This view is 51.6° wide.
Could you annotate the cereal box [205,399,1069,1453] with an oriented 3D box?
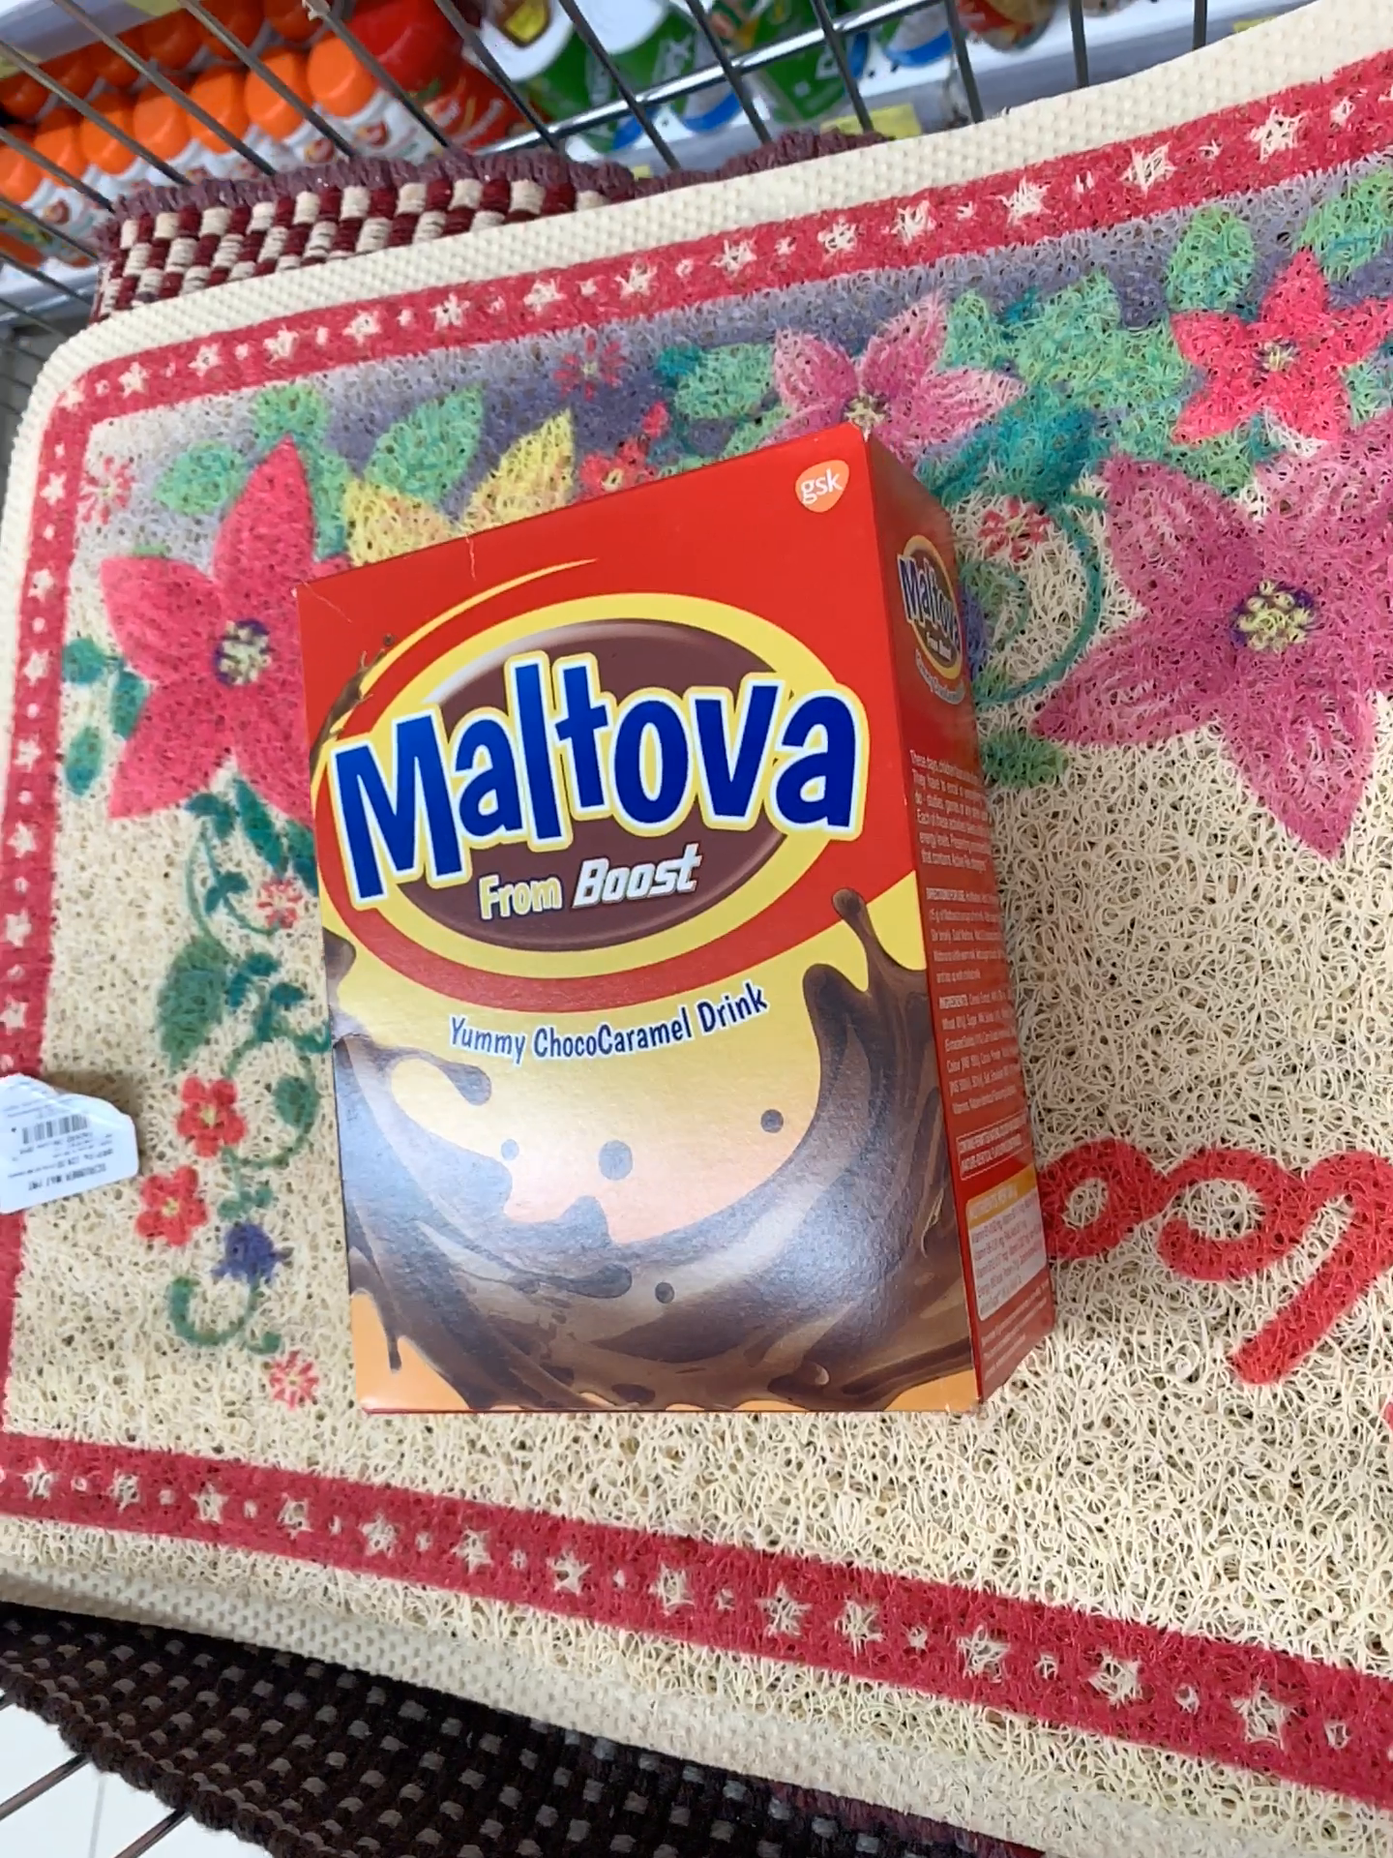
[{"bbox_3d":[-0.018,0.008,0.286,0.151,0.050,0.170,-9,84,26],"label":"cereal box"}]
